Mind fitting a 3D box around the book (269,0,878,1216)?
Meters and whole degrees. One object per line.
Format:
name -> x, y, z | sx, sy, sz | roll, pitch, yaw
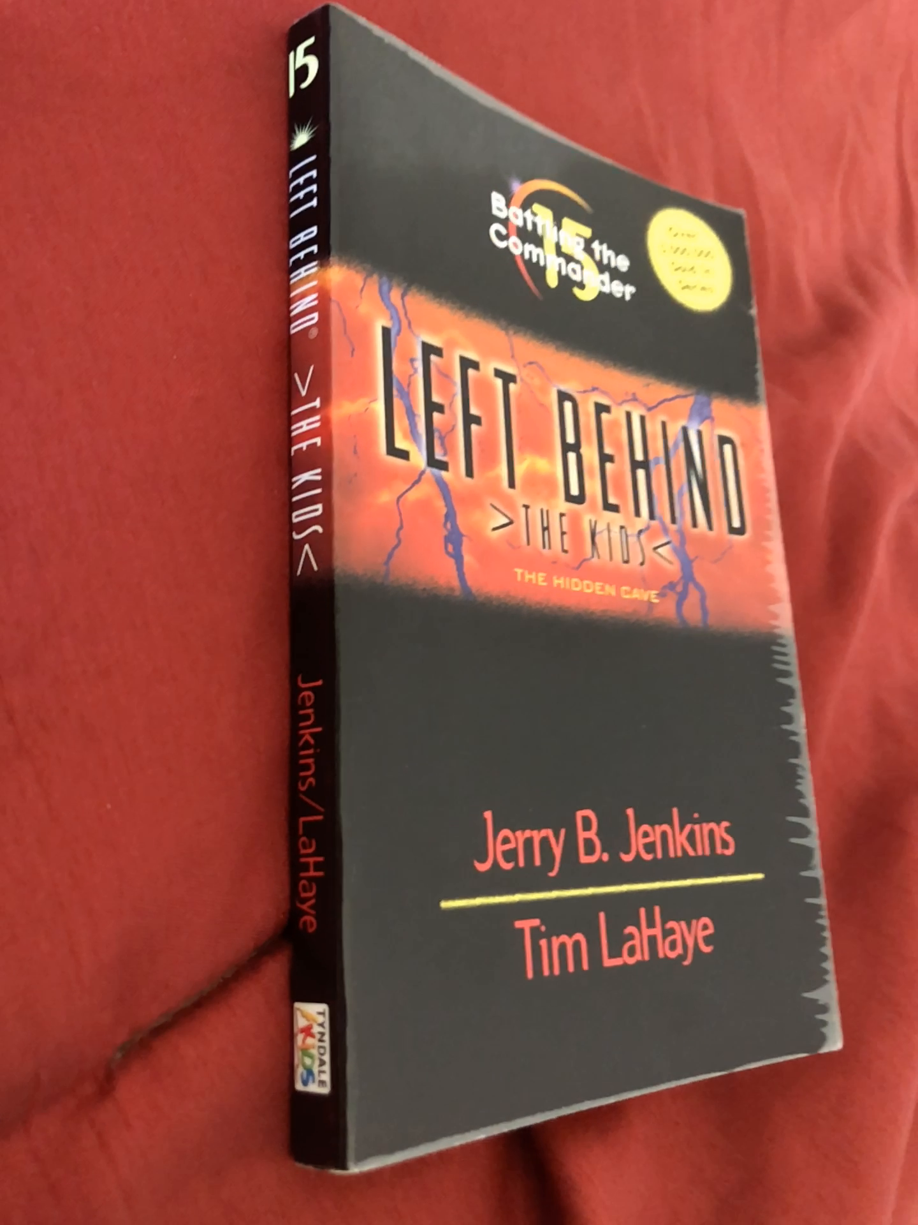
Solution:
book -> 0.022, -0.006, 0.181 | 0.111, 0.026, 0.170 | 9, 71, -41
